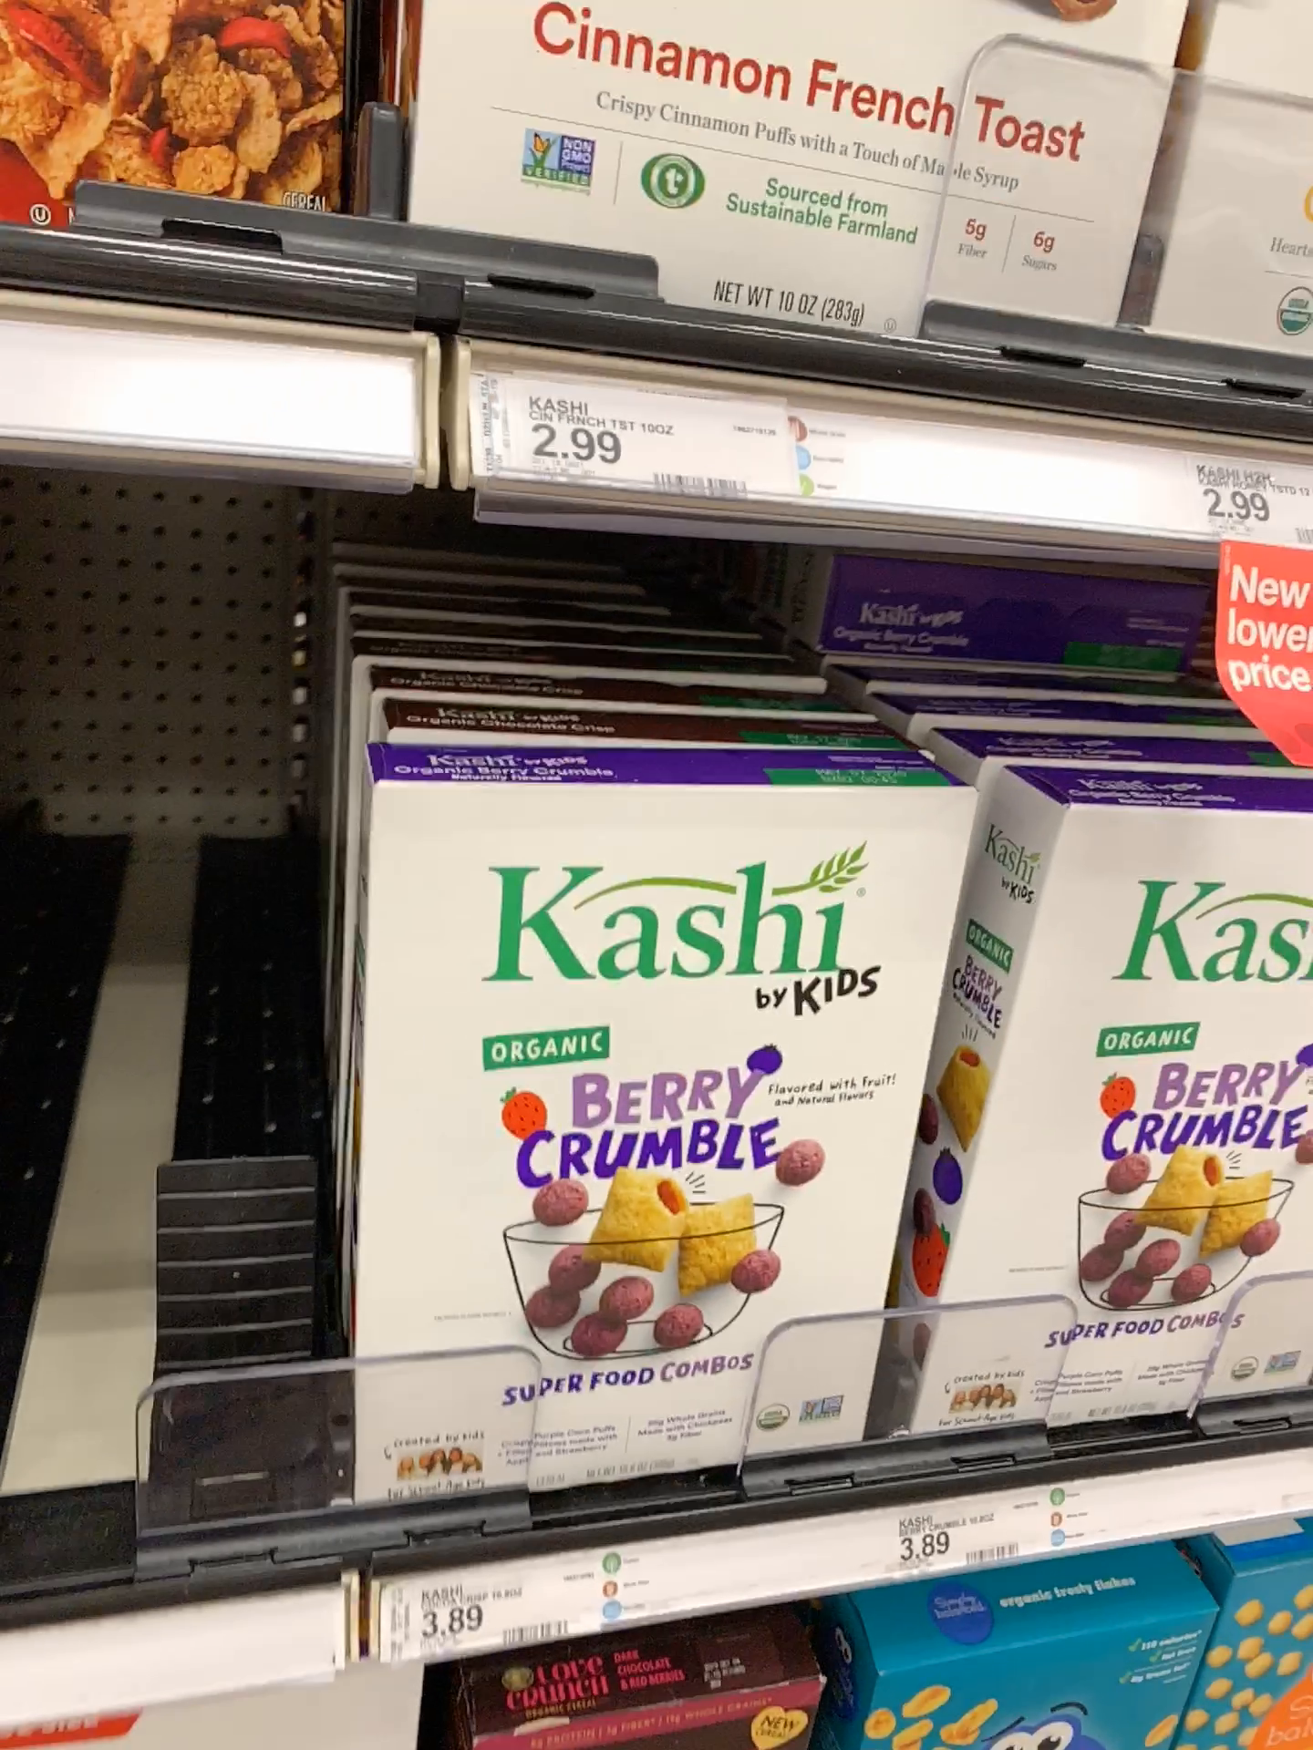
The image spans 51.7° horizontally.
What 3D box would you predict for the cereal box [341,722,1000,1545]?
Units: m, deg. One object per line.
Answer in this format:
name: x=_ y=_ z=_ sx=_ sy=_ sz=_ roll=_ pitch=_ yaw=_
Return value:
cereal box: x=-0.005 y=0.092 z=0.470 sx=0.190 sy=0.279 sz=0.050 roll=0 pitch=22 yaw=-19
